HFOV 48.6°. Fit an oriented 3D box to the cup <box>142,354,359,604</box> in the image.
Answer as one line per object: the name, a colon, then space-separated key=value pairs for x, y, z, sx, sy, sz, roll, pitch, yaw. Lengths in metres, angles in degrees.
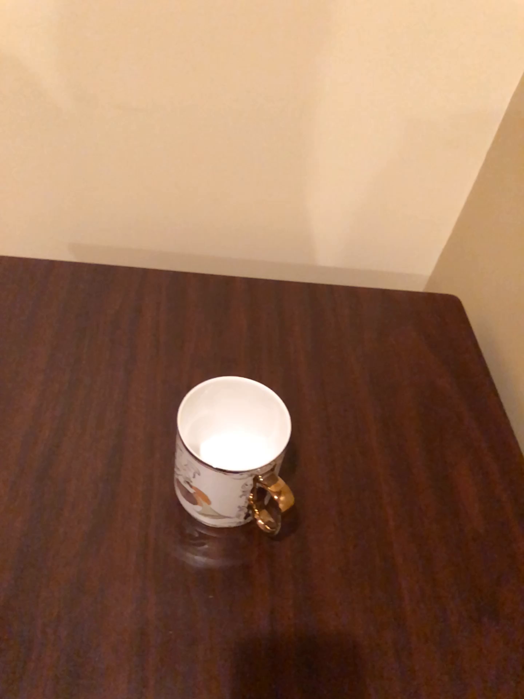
cup: x=-0.017 y=0.101 z=0.474 sx=0.100 sy=0.100 sz=0.140 roll=-26 pitch=57 yaw=-31
